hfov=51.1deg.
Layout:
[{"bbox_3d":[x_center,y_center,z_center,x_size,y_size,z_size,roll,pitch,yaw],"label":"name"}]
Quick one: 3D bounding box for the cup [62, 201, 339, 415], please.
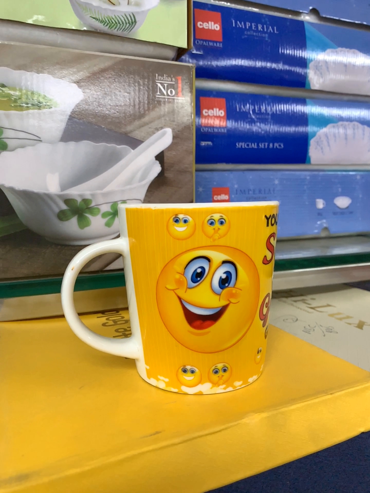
[{"bbox_3d":[0.002,0.019,0.197,0.118,0.081,0.072,-2,8,-16],"label":"cup"}]
